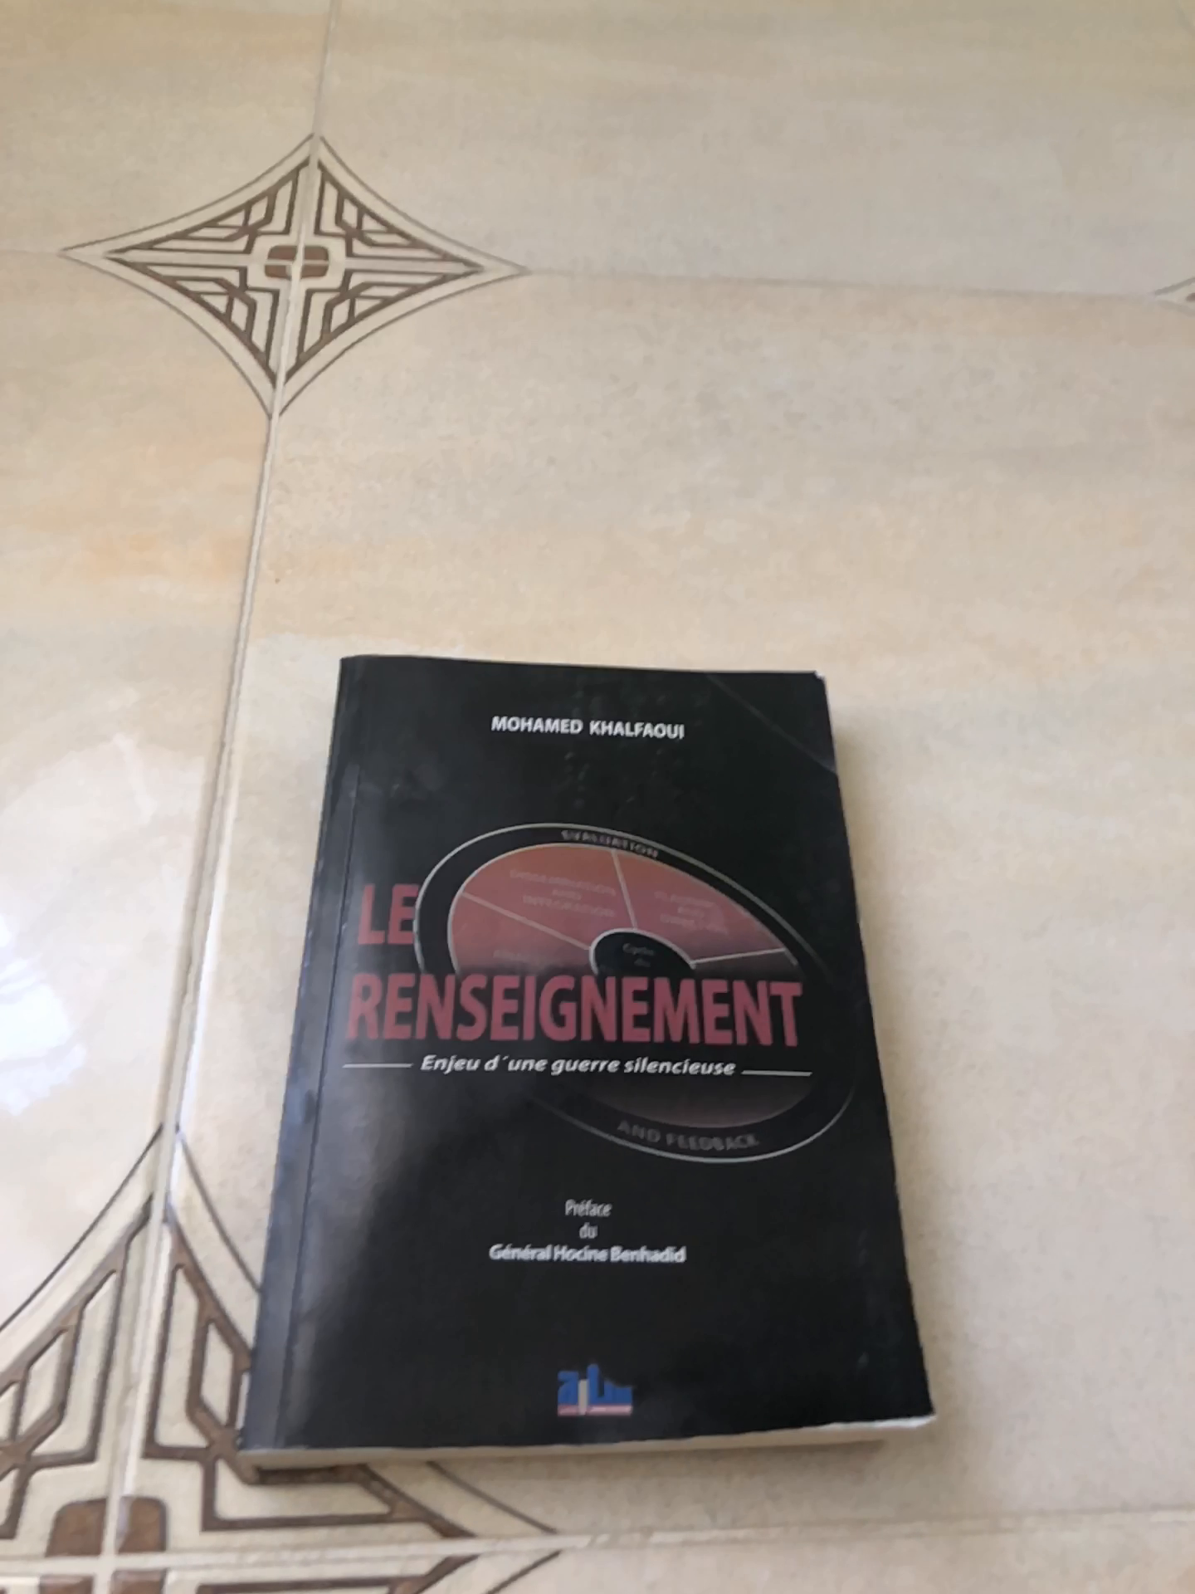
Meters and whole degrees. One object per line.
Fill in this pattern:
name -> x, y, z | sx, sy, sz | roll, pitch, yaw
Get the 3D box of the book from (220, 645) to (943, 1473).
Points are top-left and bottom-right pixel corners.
book -> -0.006, 0.055, 0.333 | 0.146, 0.037, 0.201 | 2, 57, -6
